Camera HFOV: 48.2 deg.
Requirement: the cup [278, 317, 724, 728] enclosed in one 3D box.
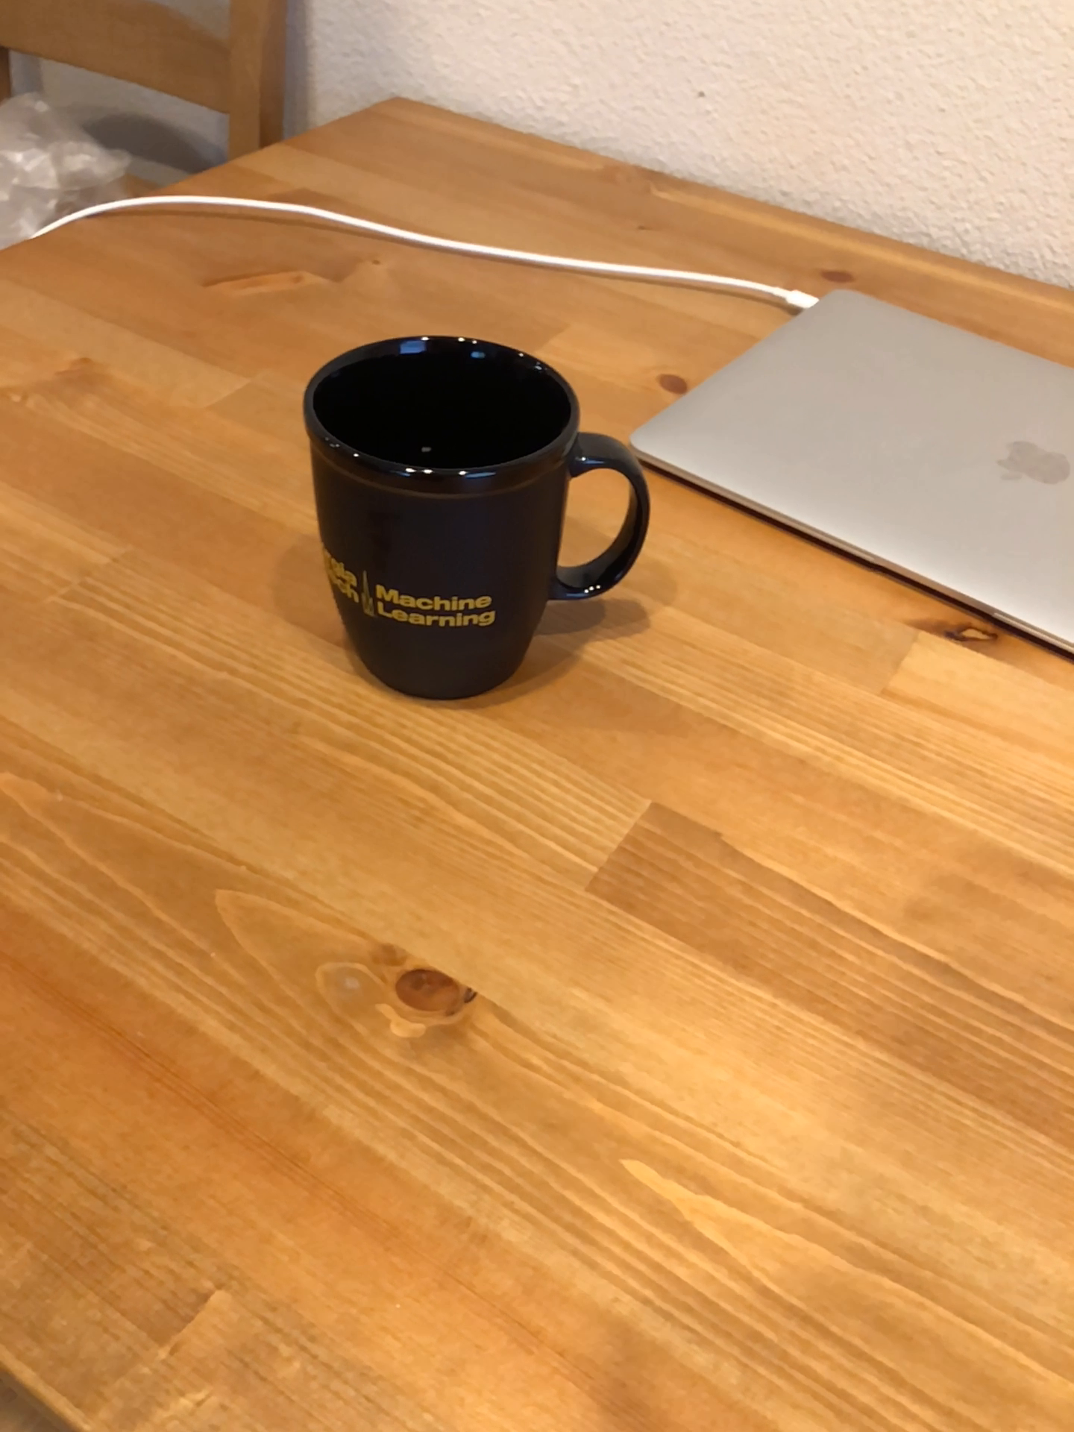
[{"bbox_3d":[-0.017,-0.068,0.405,0.120,0.090,0.090,-9,45,-14],"label":"cup"}]
